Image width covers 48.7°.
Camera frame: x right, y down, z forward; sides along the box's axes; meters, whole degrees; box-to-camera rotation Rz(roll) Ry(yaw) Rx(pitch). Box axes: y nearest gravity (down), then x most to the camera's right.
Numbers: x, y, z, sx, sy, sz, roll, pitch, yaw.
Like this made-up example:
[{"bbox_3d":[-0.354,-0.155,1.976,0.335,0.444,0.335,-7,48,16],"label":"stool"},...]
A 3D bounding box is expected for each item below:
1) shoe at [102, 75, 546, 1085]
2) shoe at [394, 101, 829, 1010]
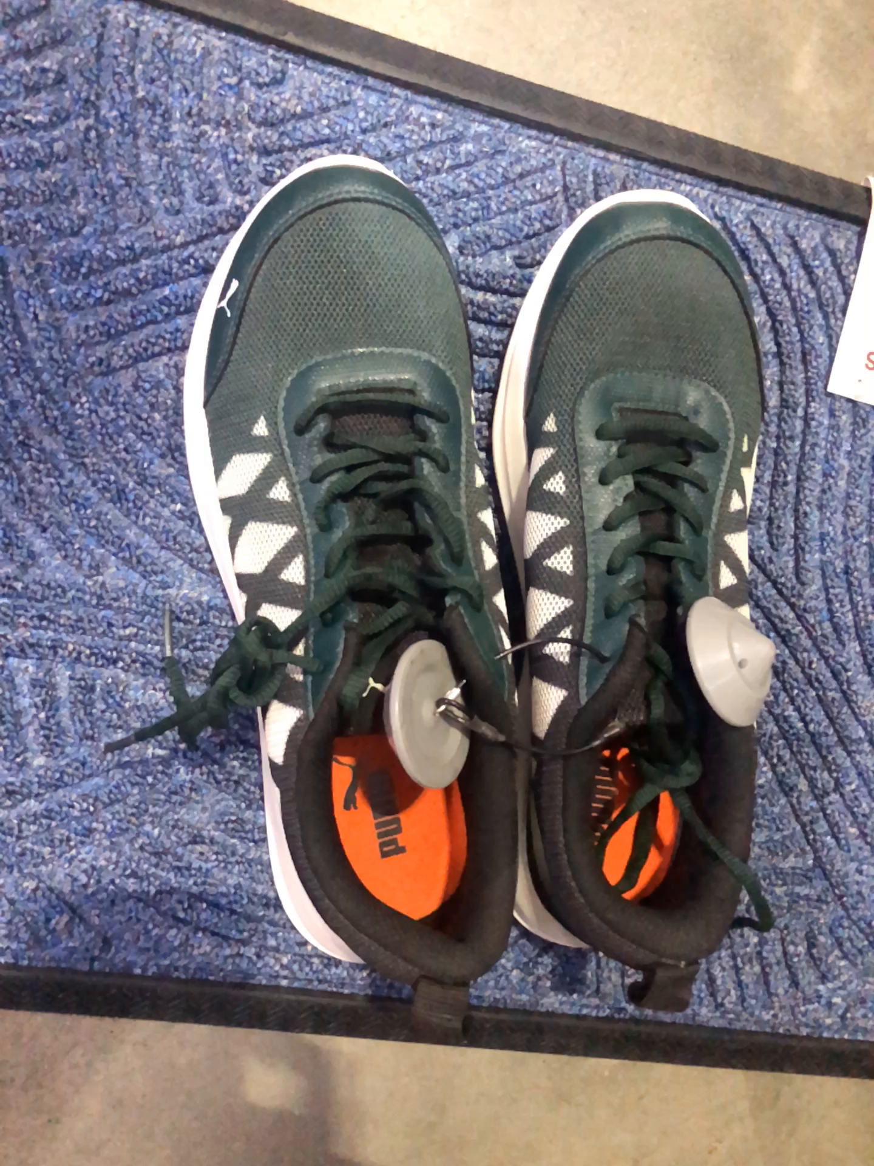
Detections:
[{"bbox_3d":[-0.038,-0.003,0.336,0.110,0.060,0.310,-6,93,-12],"label":"shoe"},{"bbox_3d":[0.059,-0.005,0.350,0.120,0.060,0.290,4,91,-13],"label":"shoe"}]
